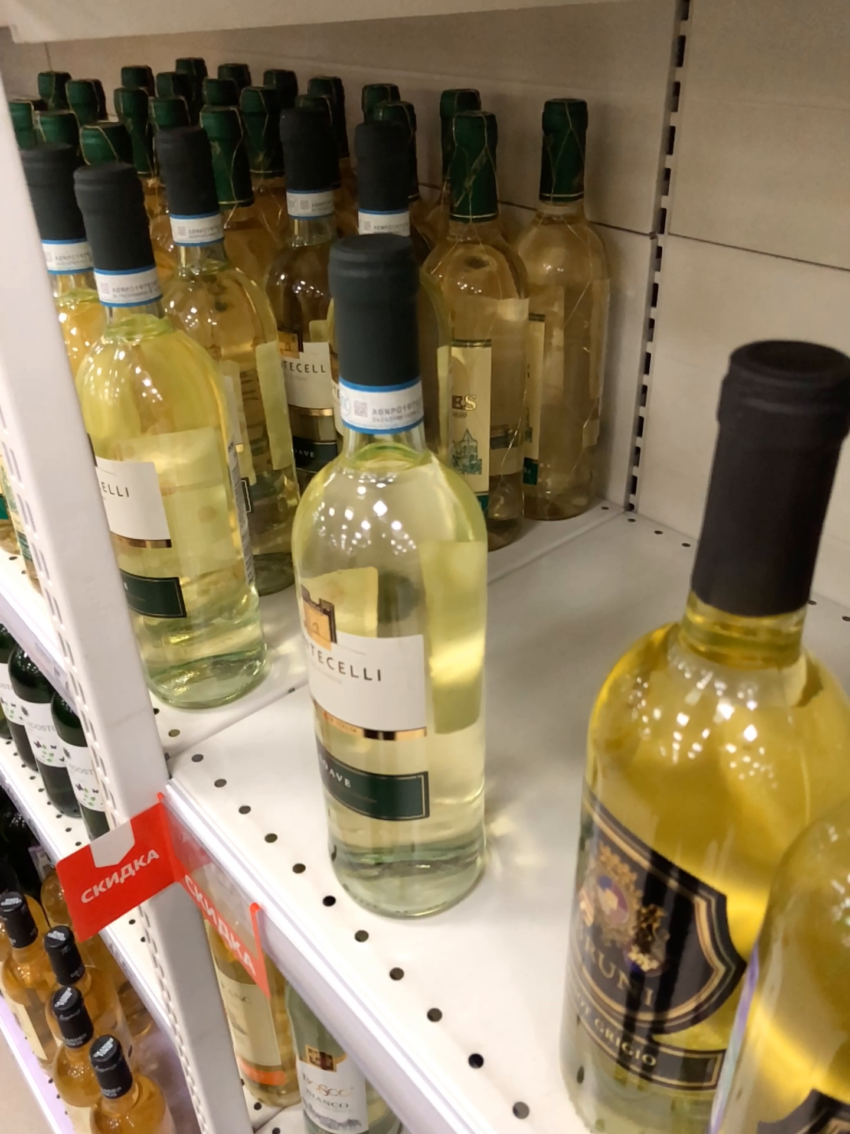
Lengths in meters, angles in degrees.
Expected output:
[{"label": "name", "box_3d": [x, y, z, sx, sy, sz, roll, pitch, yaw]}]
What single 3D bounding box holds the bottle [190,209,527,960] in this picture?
[{"label": "bottle", "box_3d": [-0.018, 0.019, 0.368, 0.070, 0.284, 0.080, -28, 41, -35]}]
